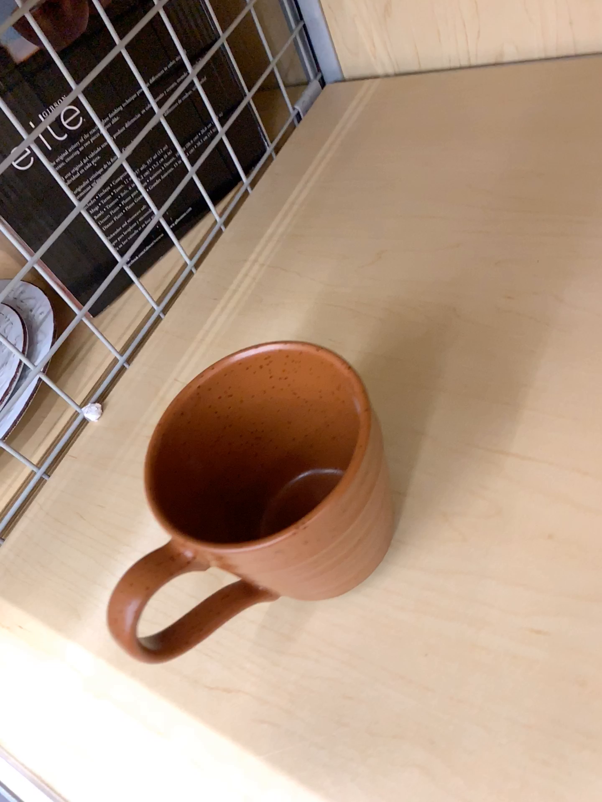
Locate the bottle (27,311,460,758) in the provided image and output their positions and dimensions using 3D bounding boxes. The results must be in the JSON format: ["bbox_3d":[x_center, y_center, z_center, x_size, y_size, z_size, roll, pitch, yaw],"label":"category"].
[{"bbox_3d":[-0.018,0.053,0.274,0.100,0.090,0.140,26,69,38],"label":"bottle"}]
